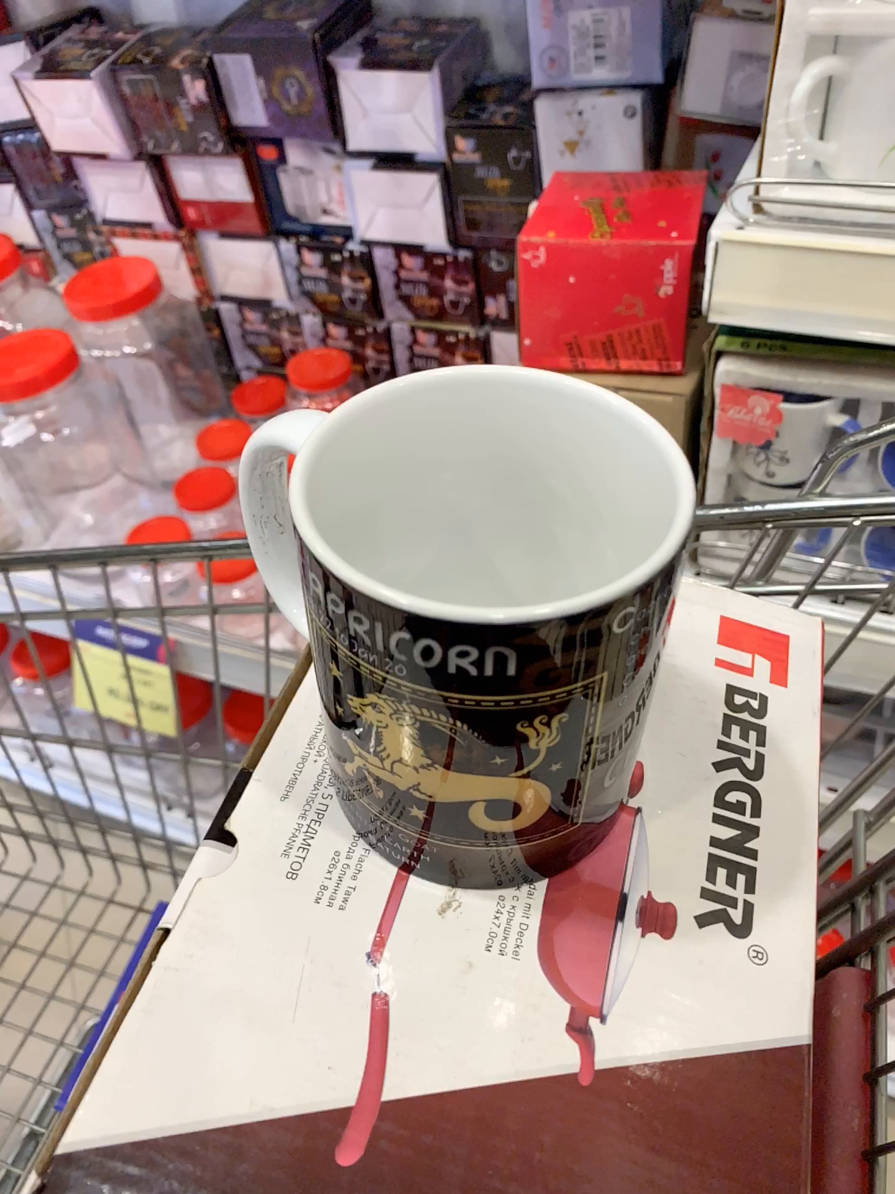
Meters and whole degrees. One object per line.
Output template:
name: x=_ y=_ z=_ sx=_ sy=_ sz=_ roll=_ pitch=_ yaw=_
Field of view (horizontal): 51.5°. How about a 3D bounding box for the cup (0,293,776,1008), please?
cup: x=-0.010 y=0.007 z=0.203 sx=0.120 sy=0.090 sz=0.080 roll=22 pitch=51 yaw=22
